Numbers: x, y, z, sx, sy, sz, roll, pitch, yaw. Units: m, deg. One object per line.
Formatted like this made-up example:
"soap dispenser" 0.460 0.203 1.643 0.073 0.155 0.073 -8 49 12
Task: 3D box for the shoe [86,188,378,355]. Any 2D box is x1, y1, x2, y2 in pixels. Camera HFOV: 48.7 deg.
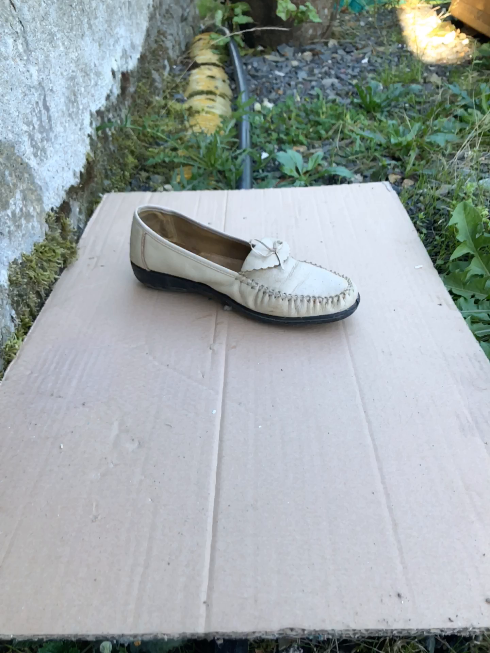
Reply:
"shoe" -0.012 -0.063 0.539 0.260 0.080 0.101 13 45 21
